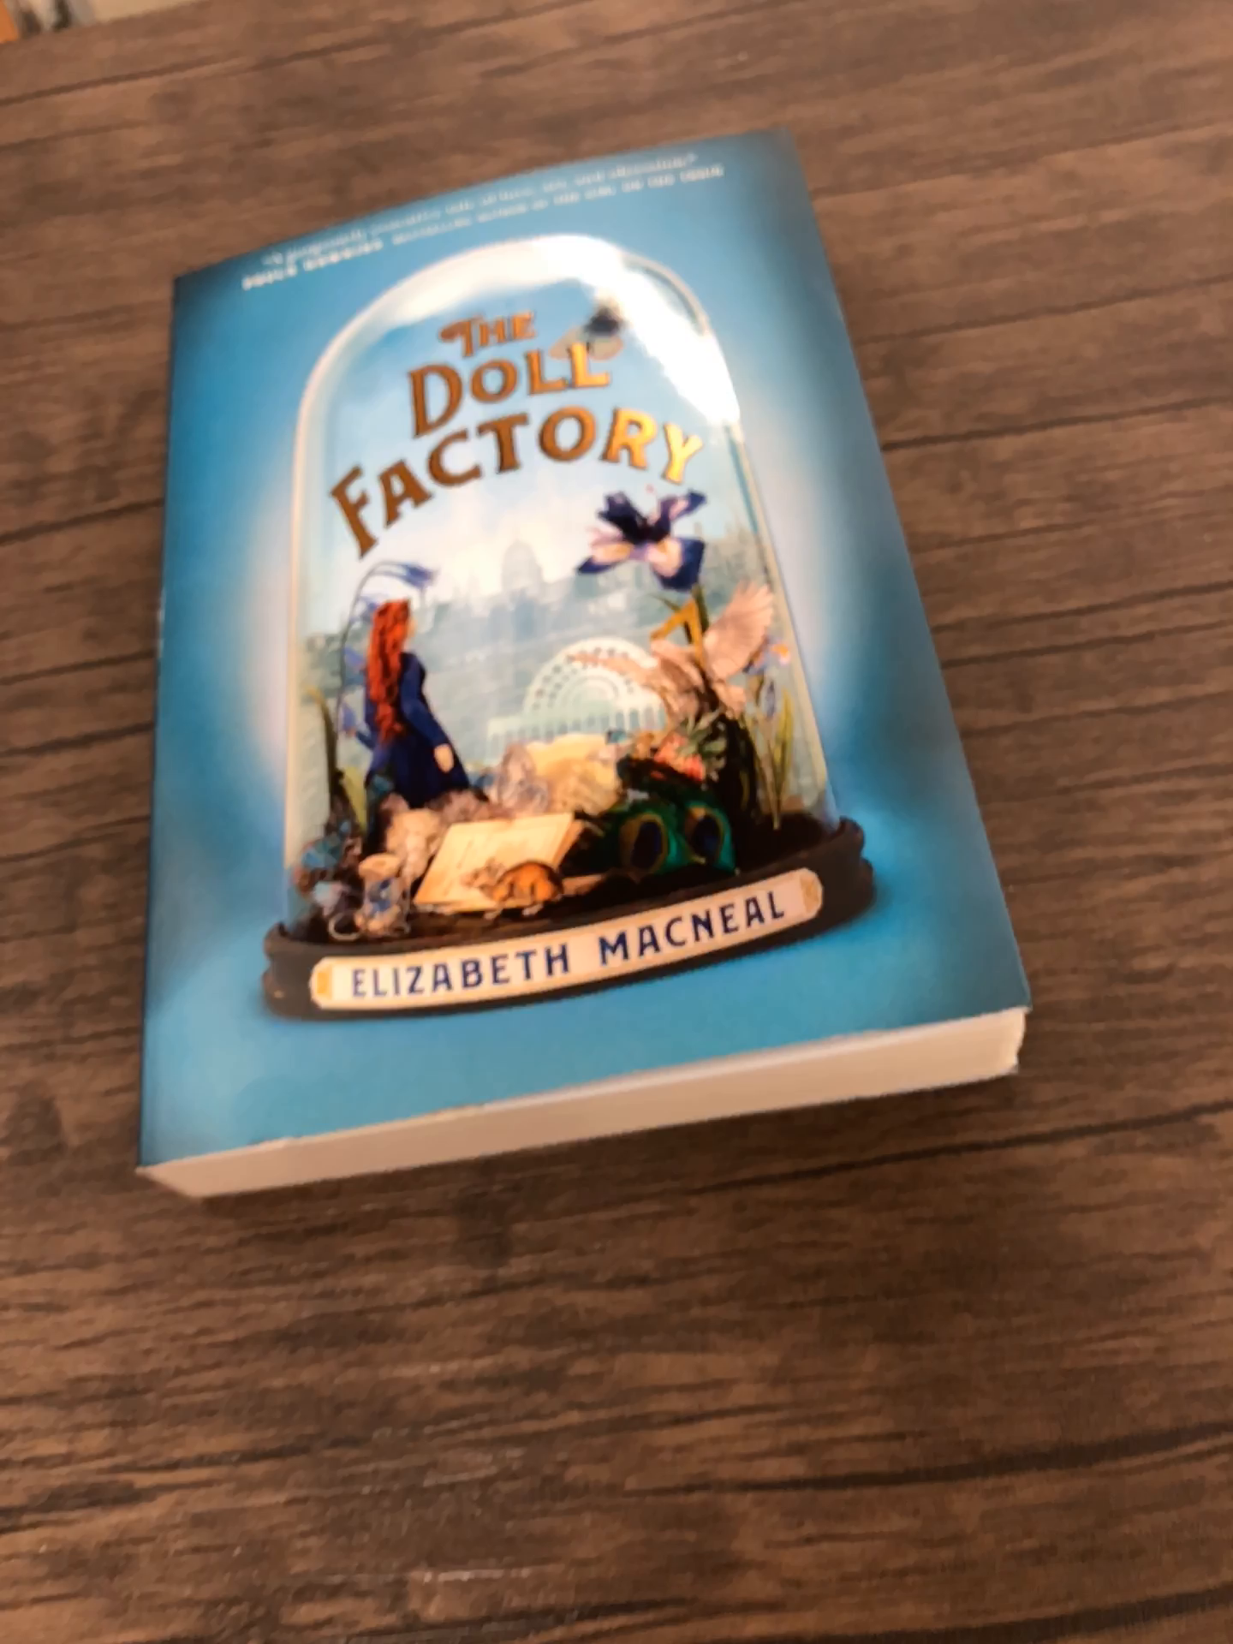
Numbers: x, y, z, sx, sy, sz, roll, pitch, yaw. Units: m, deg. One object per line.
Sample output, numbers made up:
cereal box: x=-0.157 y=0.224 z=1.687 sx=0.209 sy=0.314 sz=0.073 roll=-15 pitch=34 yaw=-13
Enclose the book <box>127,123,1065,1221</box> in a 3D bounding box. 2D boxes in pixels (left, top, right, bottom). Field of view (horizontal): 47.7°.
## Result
book: x=-0.018 y=-0.045 z=0.305 sx=0.160 sy=0.040 sz=0.230 roll=-10 pitch=62 yaw=3
